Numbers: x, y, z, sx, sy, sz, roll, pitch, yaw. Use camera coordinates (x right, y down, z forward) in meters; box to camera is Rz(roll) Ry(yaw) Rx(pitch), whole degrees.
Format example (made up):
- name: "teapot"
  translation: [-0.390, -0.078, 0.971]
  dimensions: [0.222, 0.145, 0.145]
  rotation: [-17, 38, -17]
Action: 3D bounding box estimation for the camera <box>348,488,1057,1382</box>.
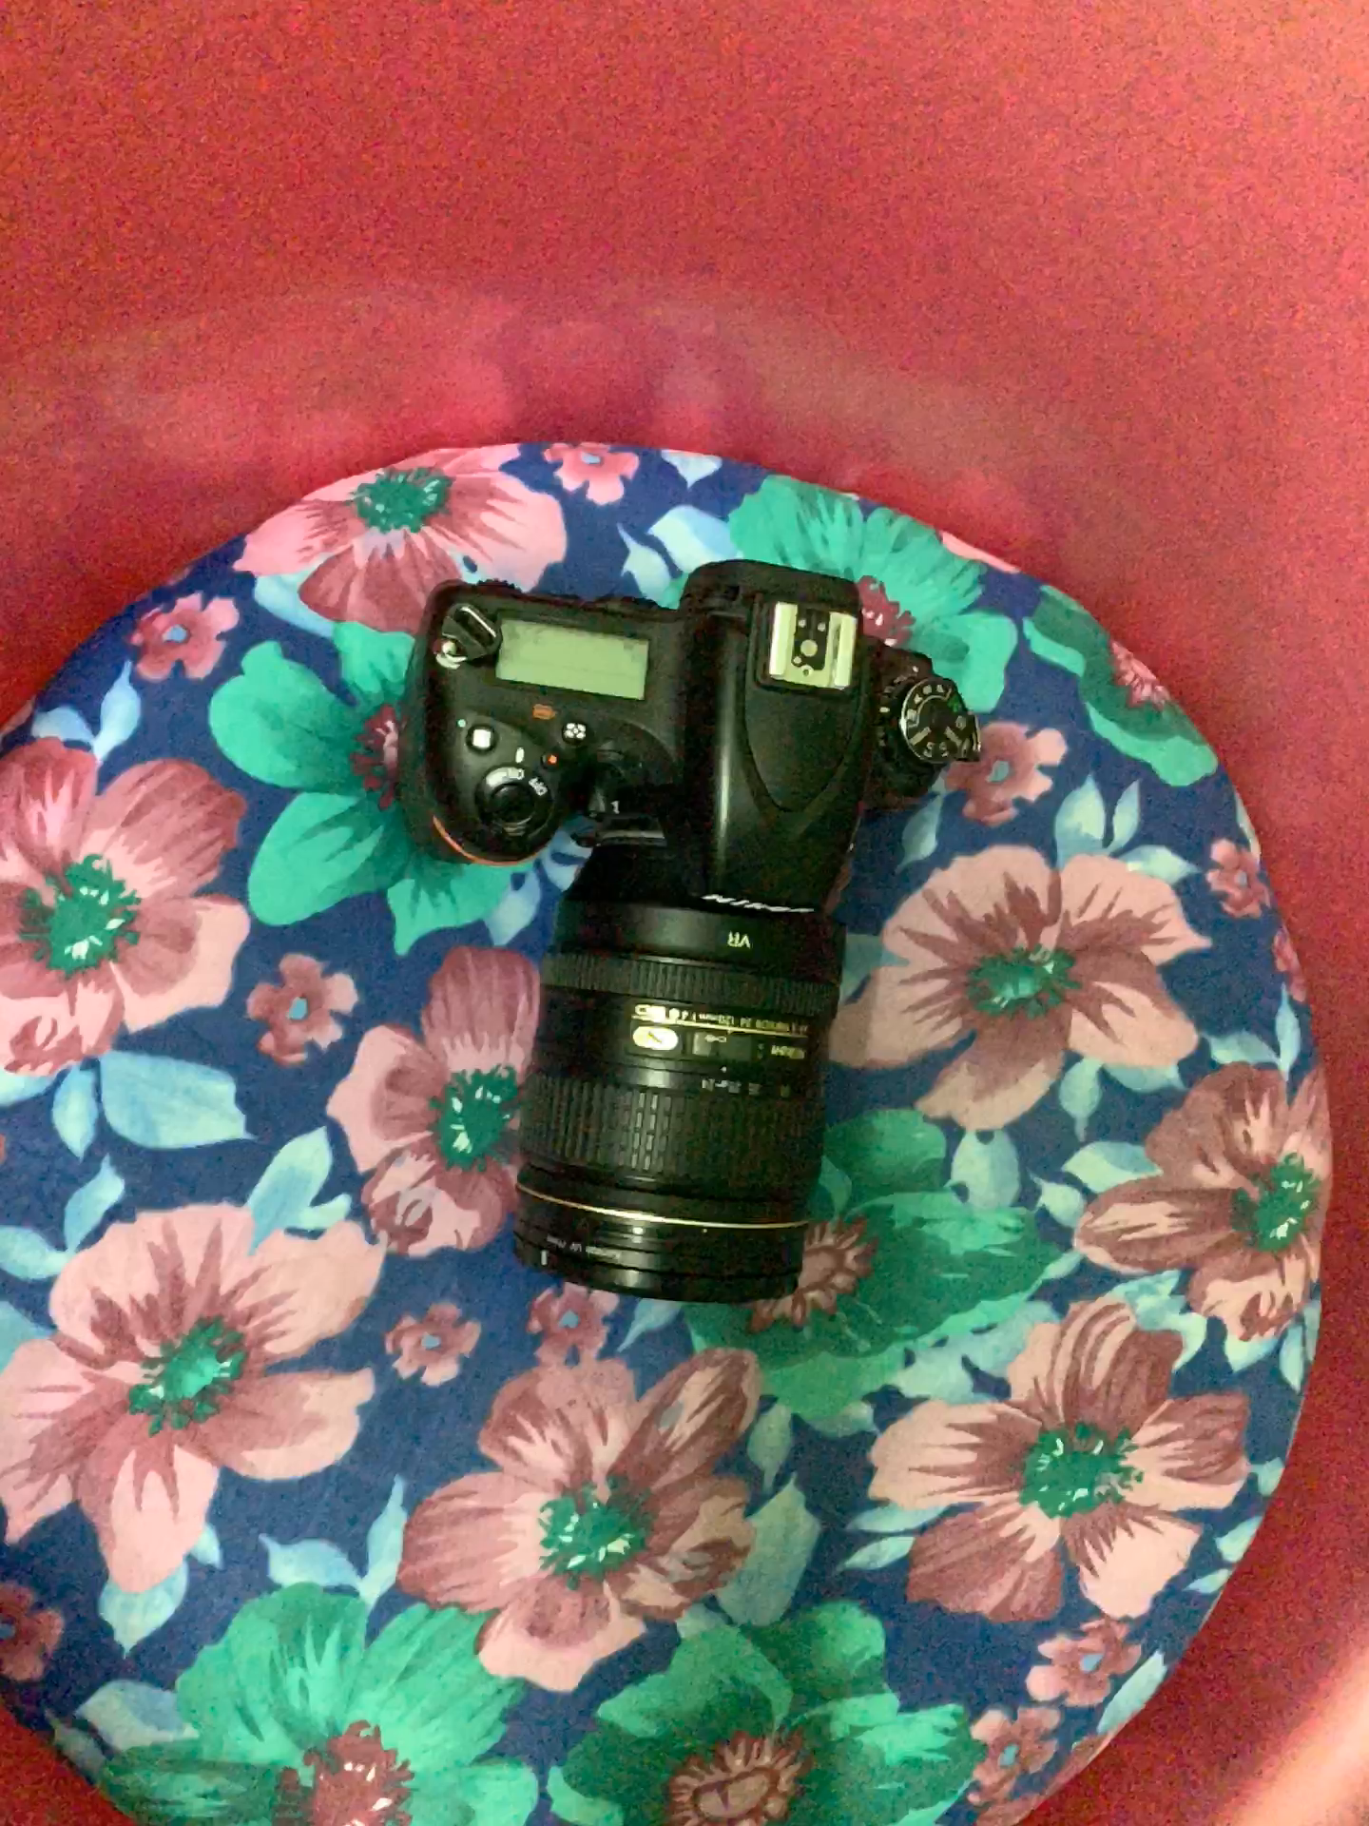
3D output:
- name: "camera"
  translation: [-0.002, 0.011, 0.361]
  dimensions: [0.140, 0.111, 0.179]
  rotation: [8, 84, -12]
